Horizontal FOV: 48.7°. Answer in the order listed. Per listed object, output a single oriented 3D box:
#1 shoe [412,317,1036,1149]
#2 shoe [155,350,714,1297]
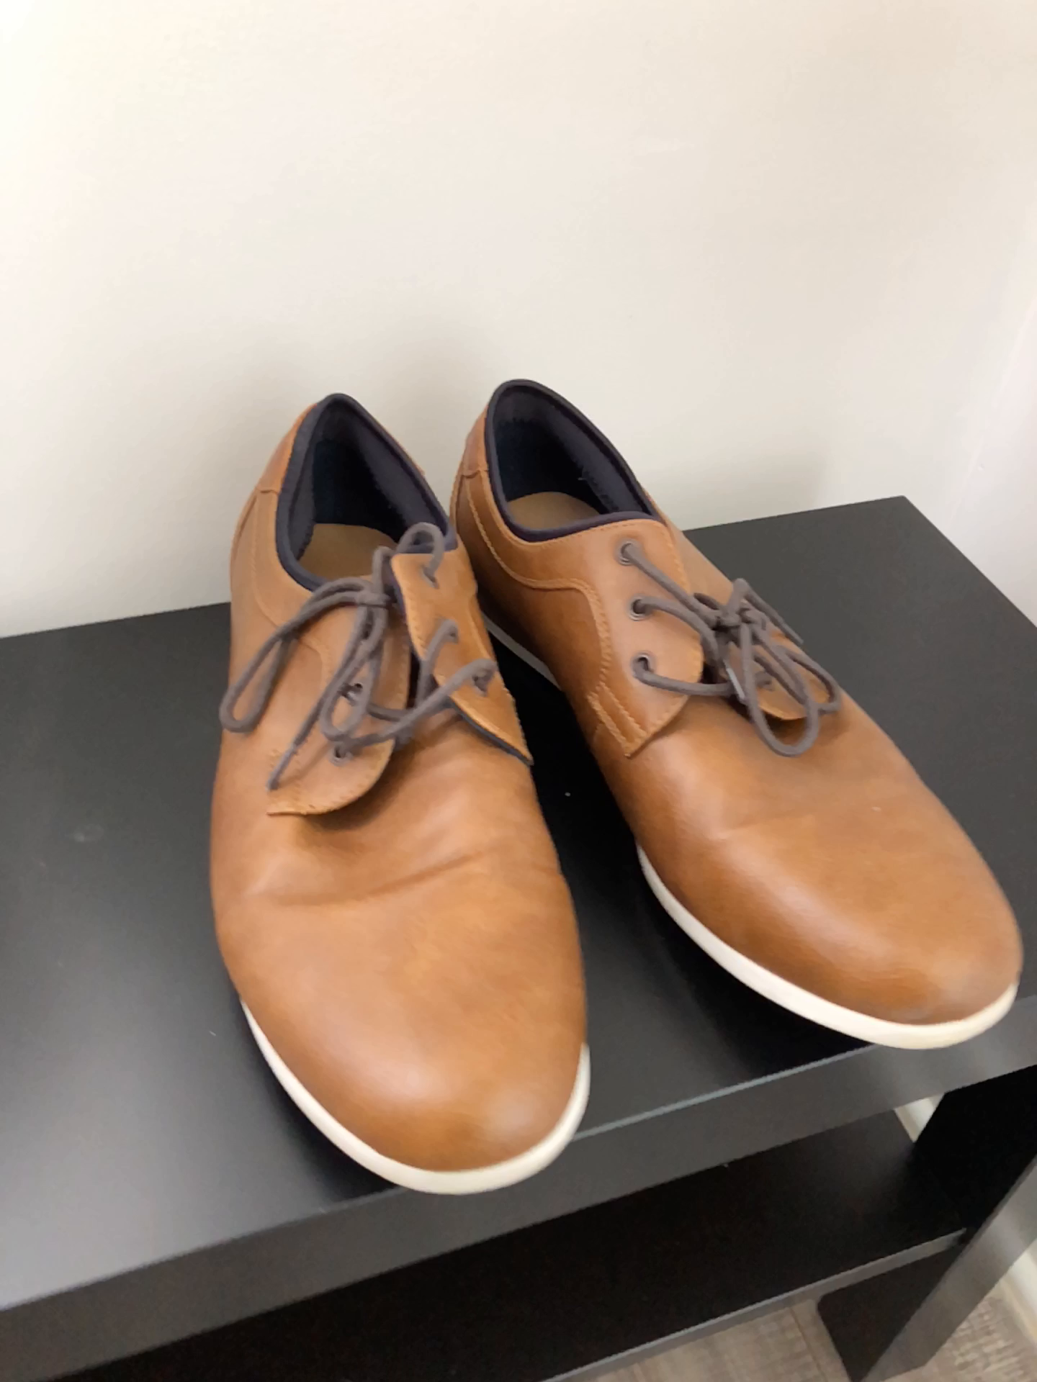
[{"bbox_3d":[0.064,-0.014,0.387,0.104,0.100,0.281,-15,45,-20],"label":"shoe"},{"bbox_3d":[-0.046,0.009,0.341,0.104,0.100,0.271,-7,43,-11],"label":"shoe"}]
